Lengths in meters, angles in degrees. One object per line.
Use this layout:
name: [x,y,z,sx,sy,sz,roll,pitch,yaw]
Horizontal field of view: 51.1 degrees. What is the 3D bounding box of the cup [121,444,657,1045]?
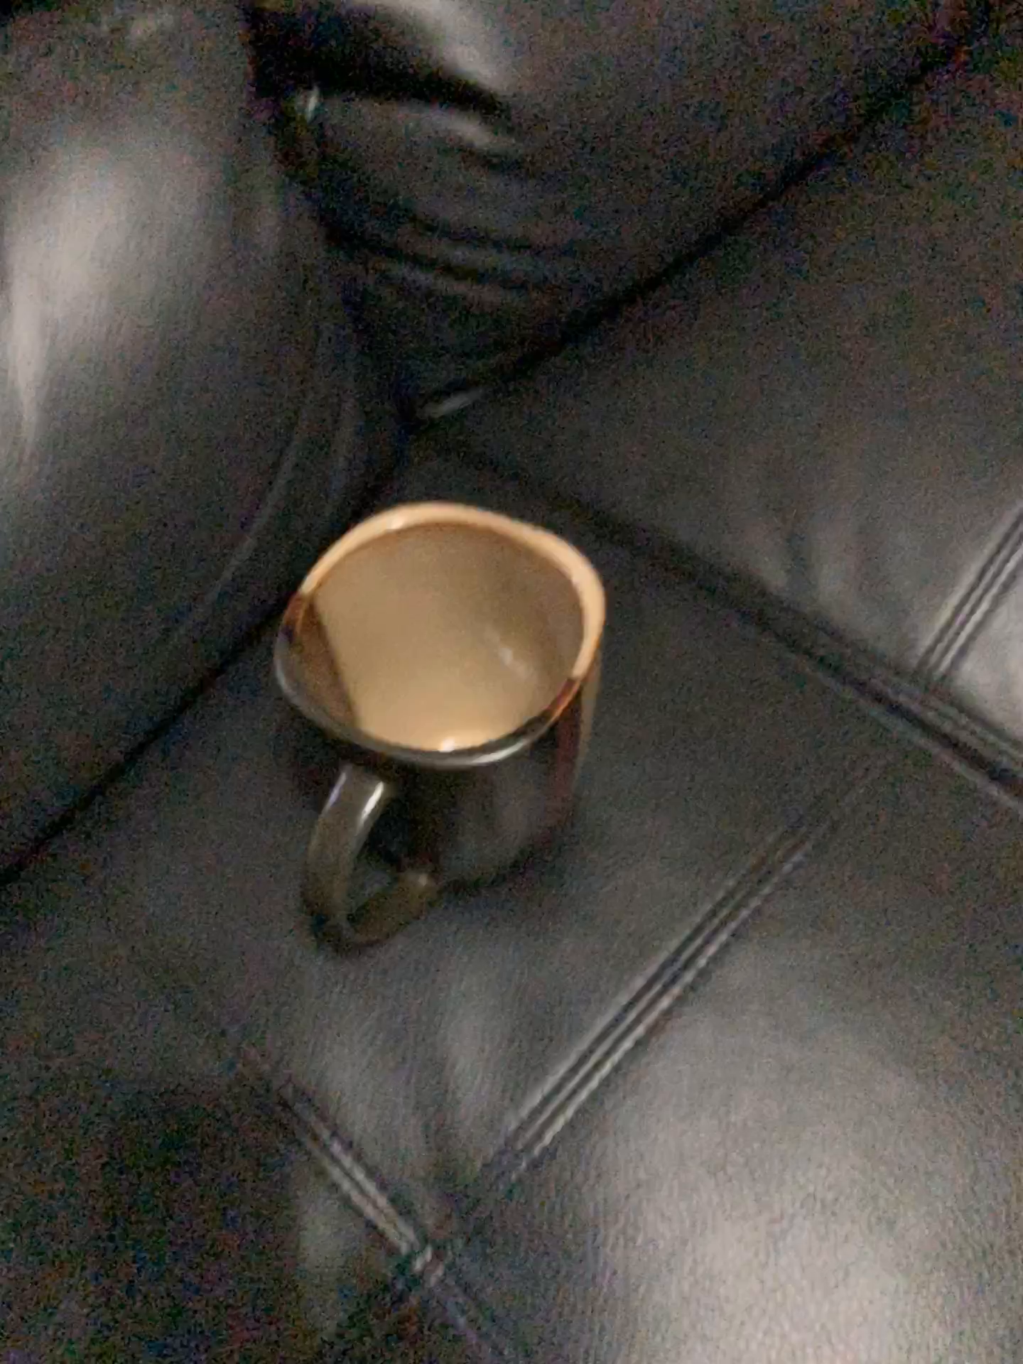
cup: [-0.030,0.020,0.357,0.098,0.109,0.138,24,60,17]
